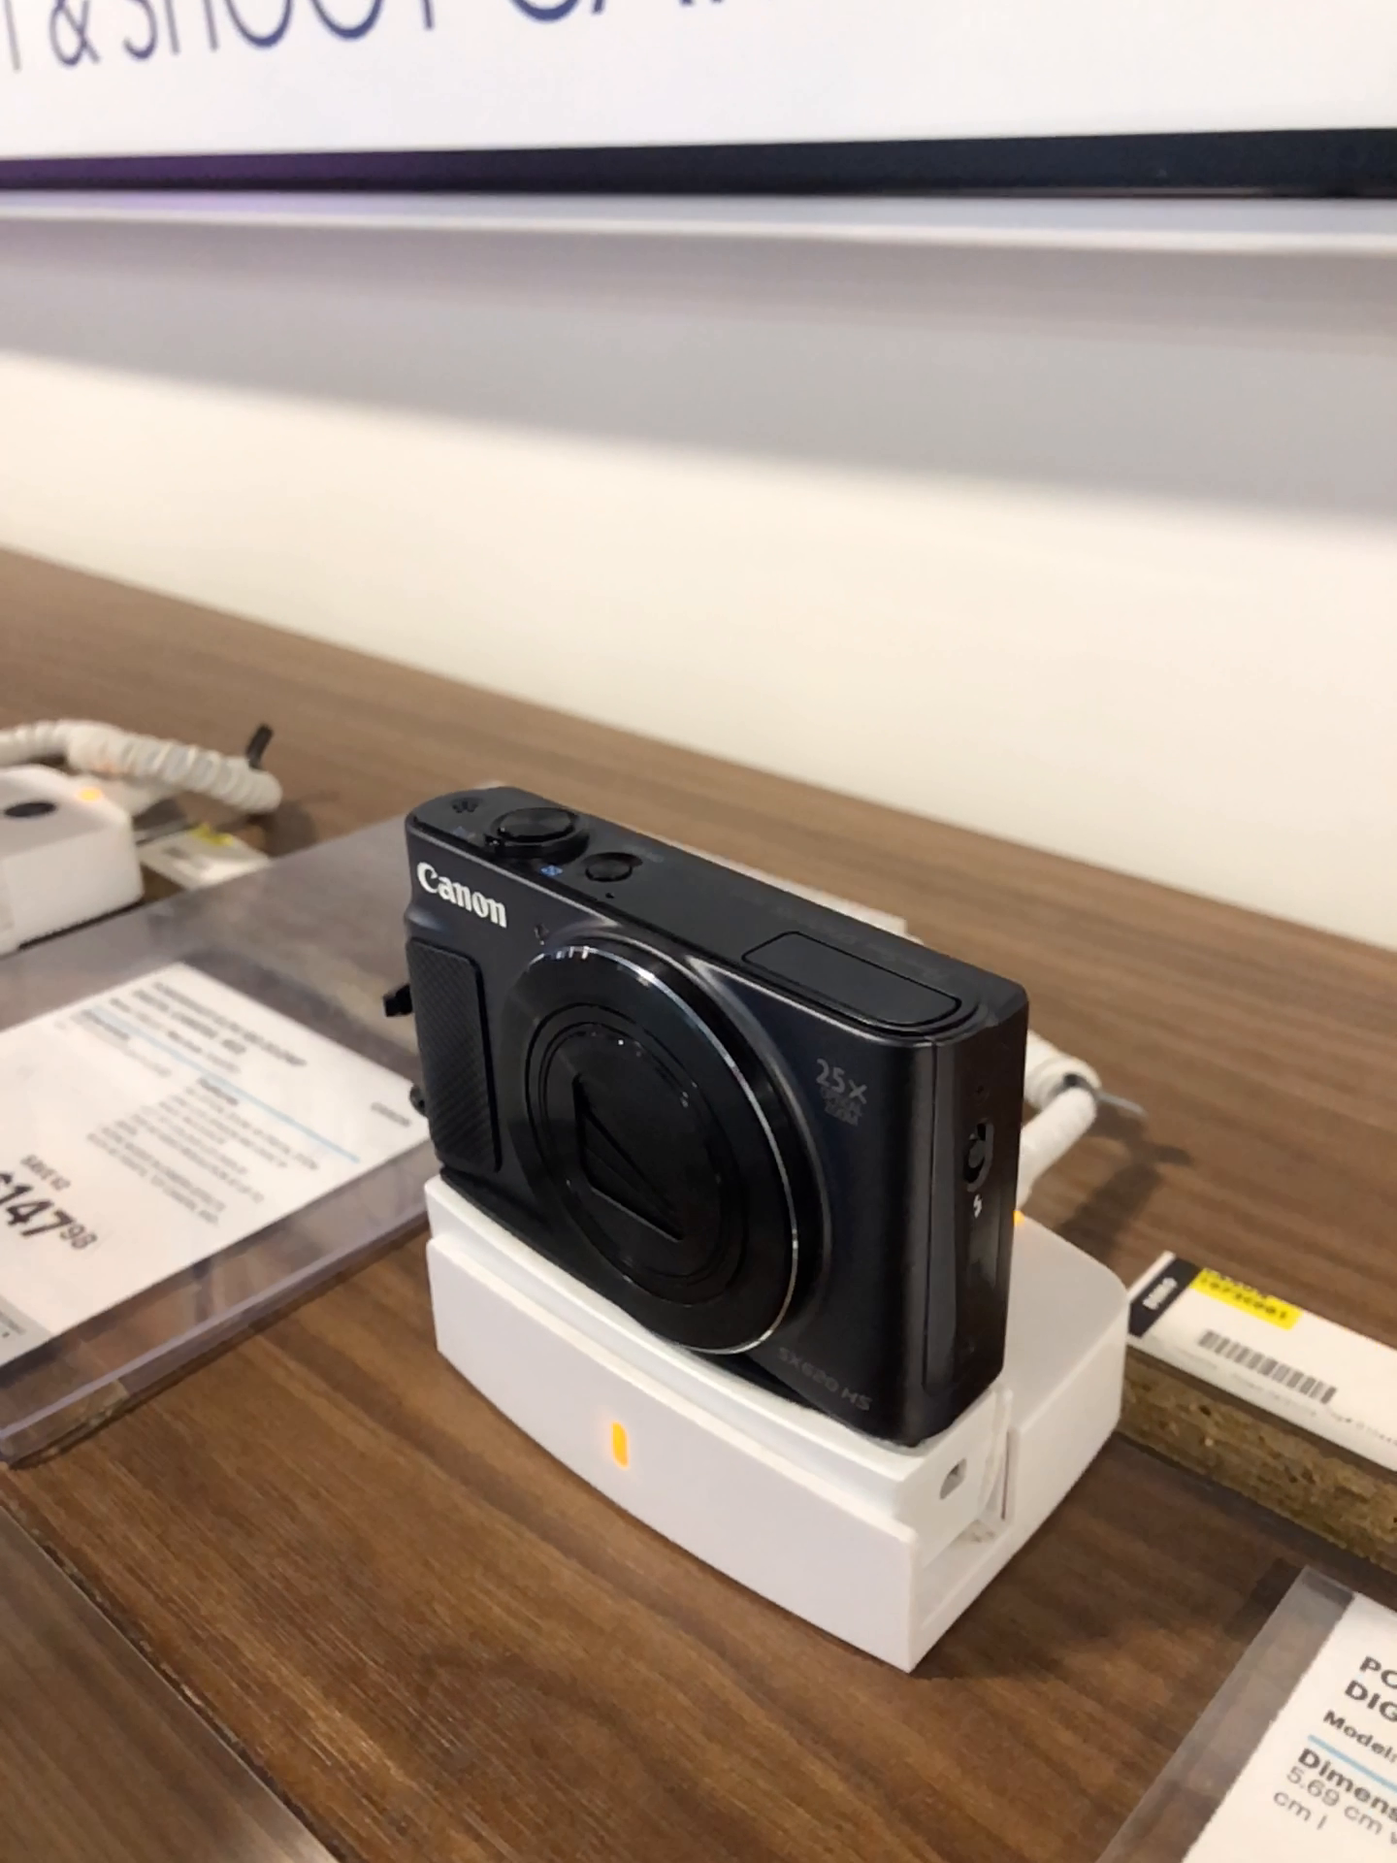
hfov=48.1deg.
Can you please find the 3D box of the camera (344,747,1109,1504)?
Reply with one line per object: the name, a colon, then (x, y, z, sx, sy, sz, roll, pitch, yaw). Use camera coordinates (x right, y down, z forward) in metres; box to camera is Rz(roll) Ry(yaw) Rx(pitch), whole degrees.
camera: (-0.002, 0.018, 0.206, 0.100, 0.060, 0.030, 21, 32, 38)
